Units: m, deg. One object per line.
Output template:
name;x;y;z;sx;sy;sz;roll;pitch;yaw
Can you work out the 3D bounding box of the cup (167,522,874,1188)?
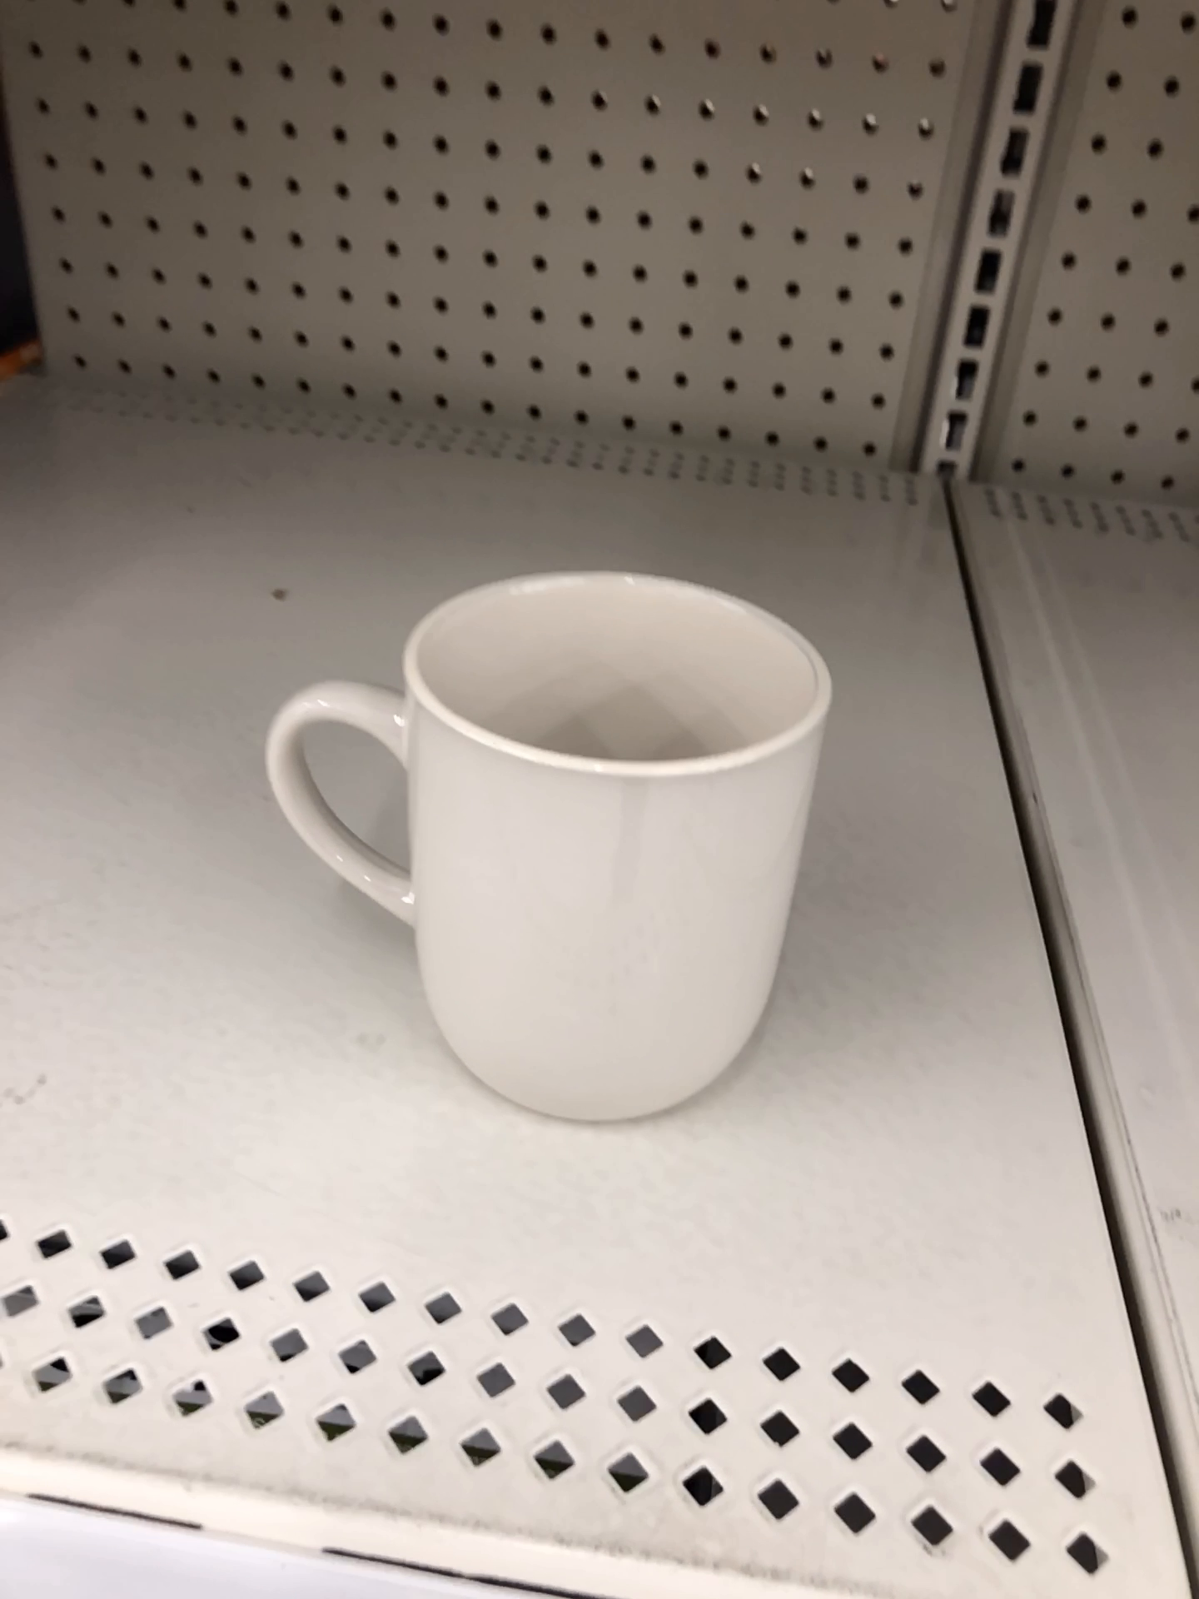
cup;-0.012;0.006;0.290;0.121;0.090;0.087;11;32;11
